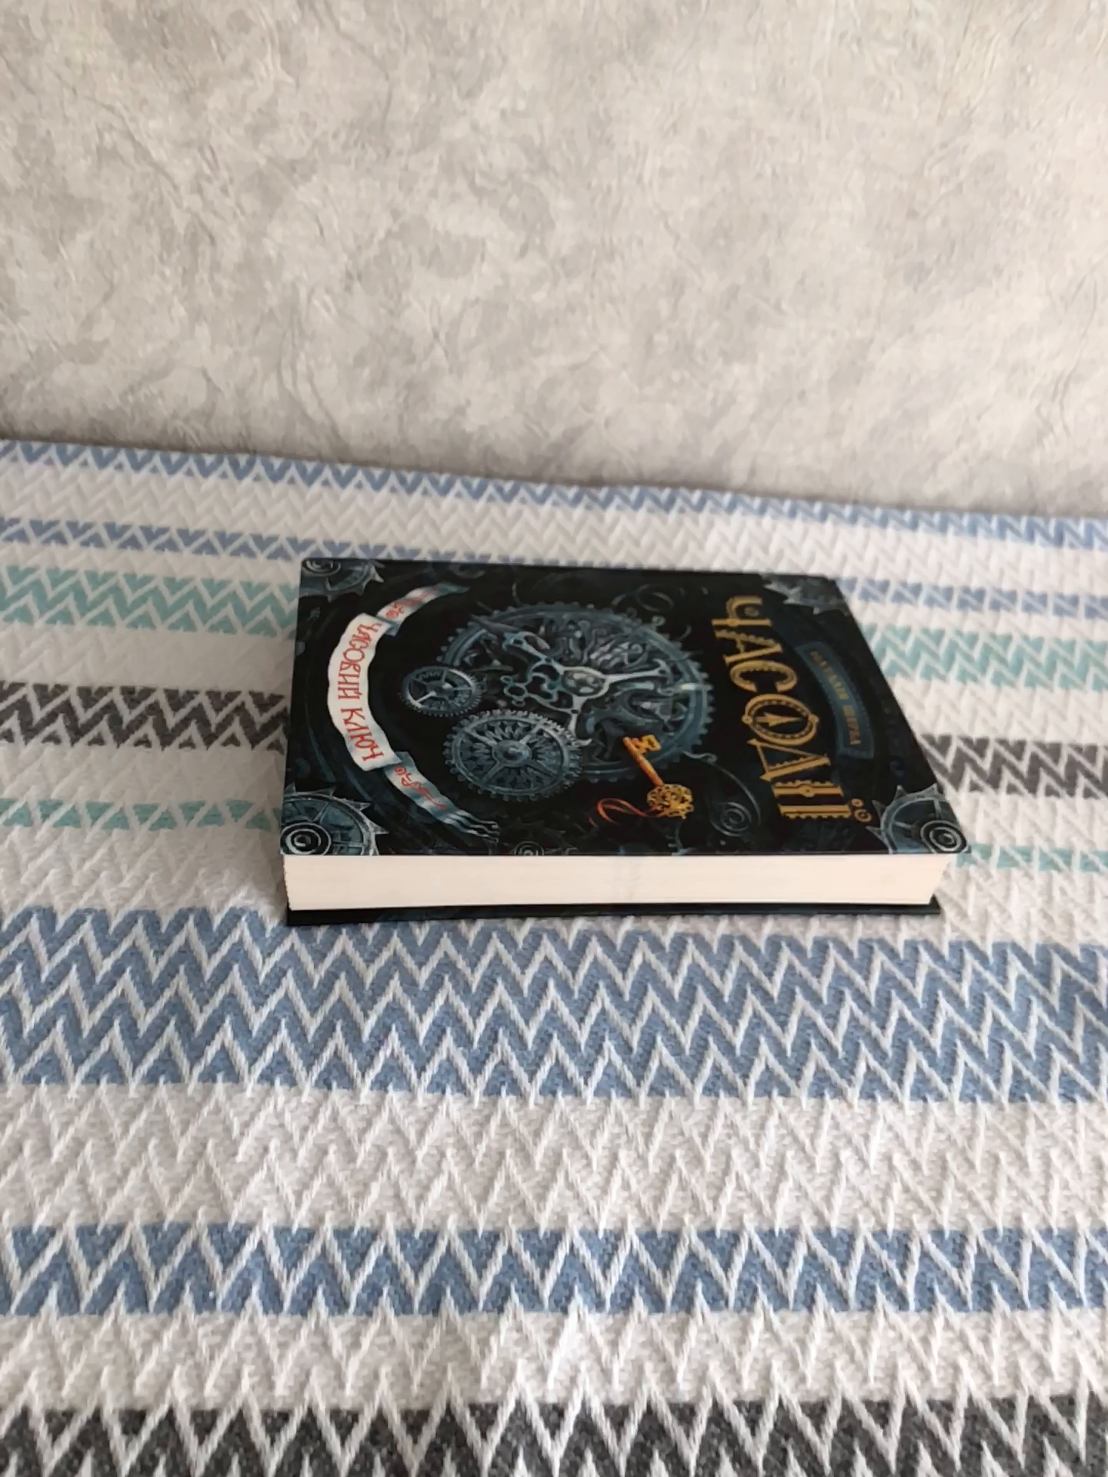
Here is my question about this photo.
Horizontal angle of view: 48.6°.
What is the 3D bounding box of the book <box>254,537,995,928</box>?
[{"bbox_3d":[0.016,-0.009,0.460,0.238,0.032,0.179,1,40,-10],"label":"book"}]
